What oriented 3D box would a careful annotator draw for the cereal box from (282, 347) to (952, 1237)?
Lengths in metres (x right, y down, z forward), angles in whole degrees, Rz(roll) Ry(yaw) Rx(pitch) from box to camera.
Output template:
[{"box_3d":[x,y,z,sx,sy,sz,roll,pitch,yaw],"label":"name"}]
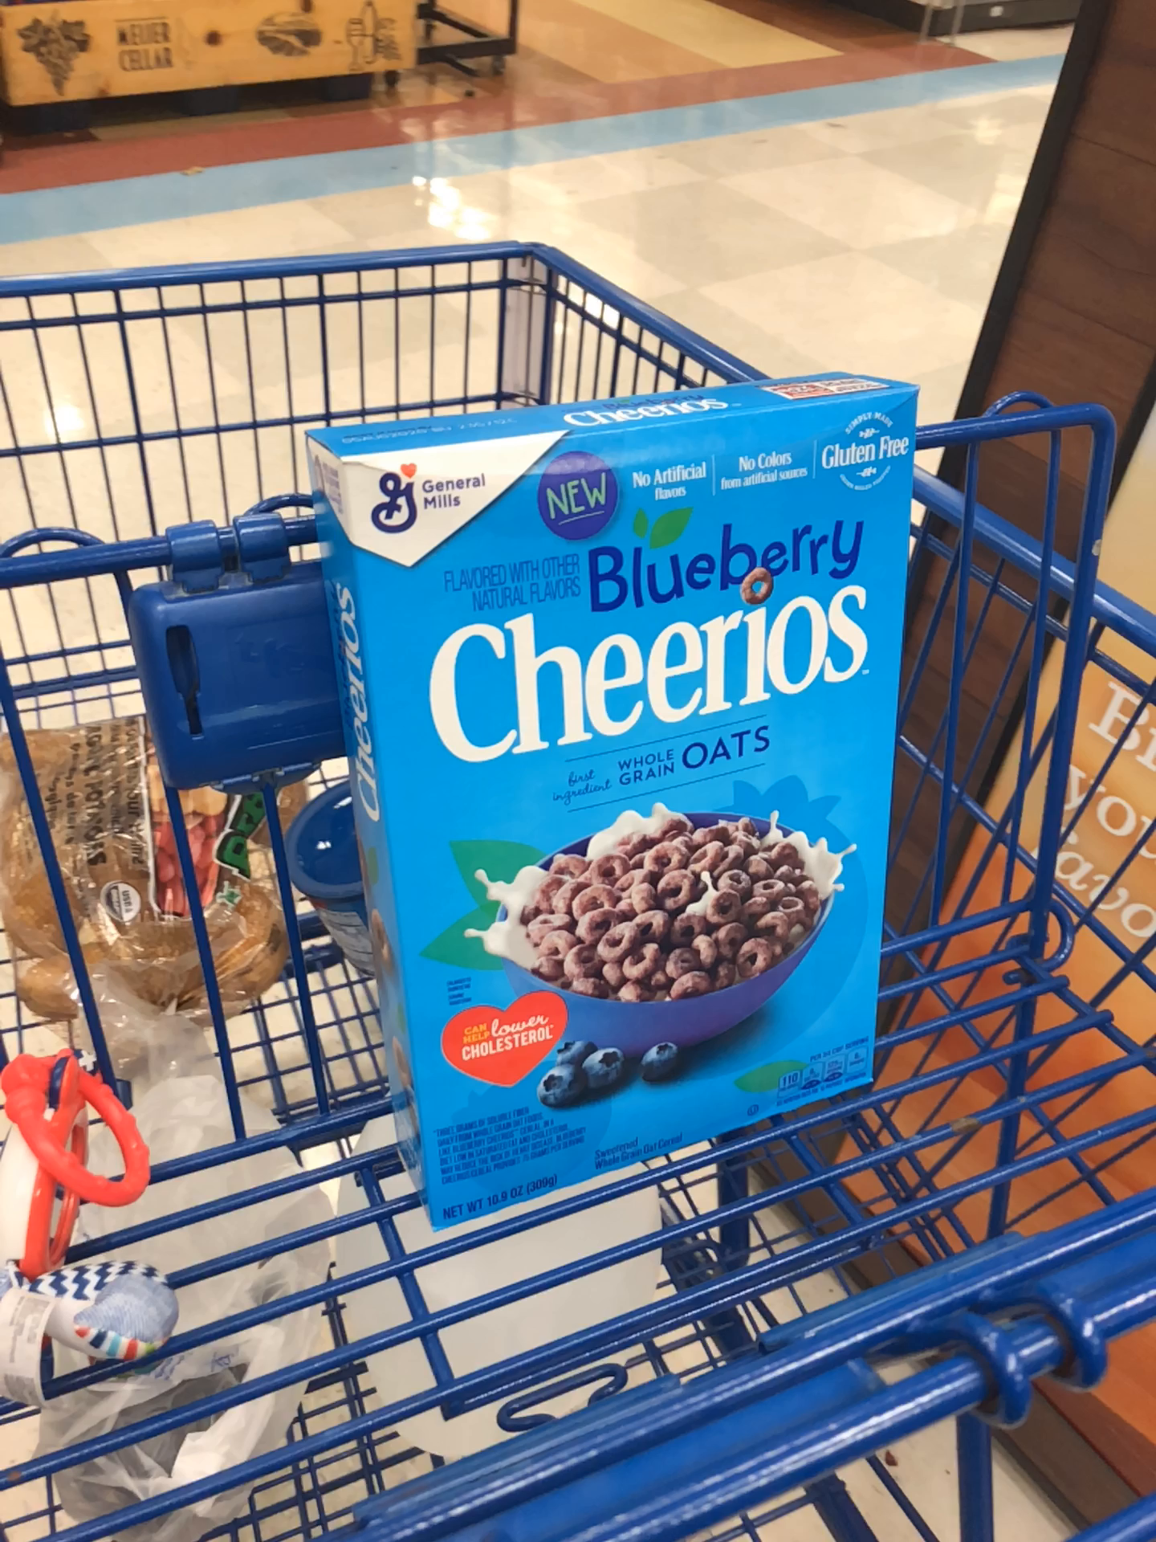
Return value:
[{"box_3d":[0.020,0.005,0.459,0.200,0.280,0.070,-12,26,-20],"label":"cereal box"}]
